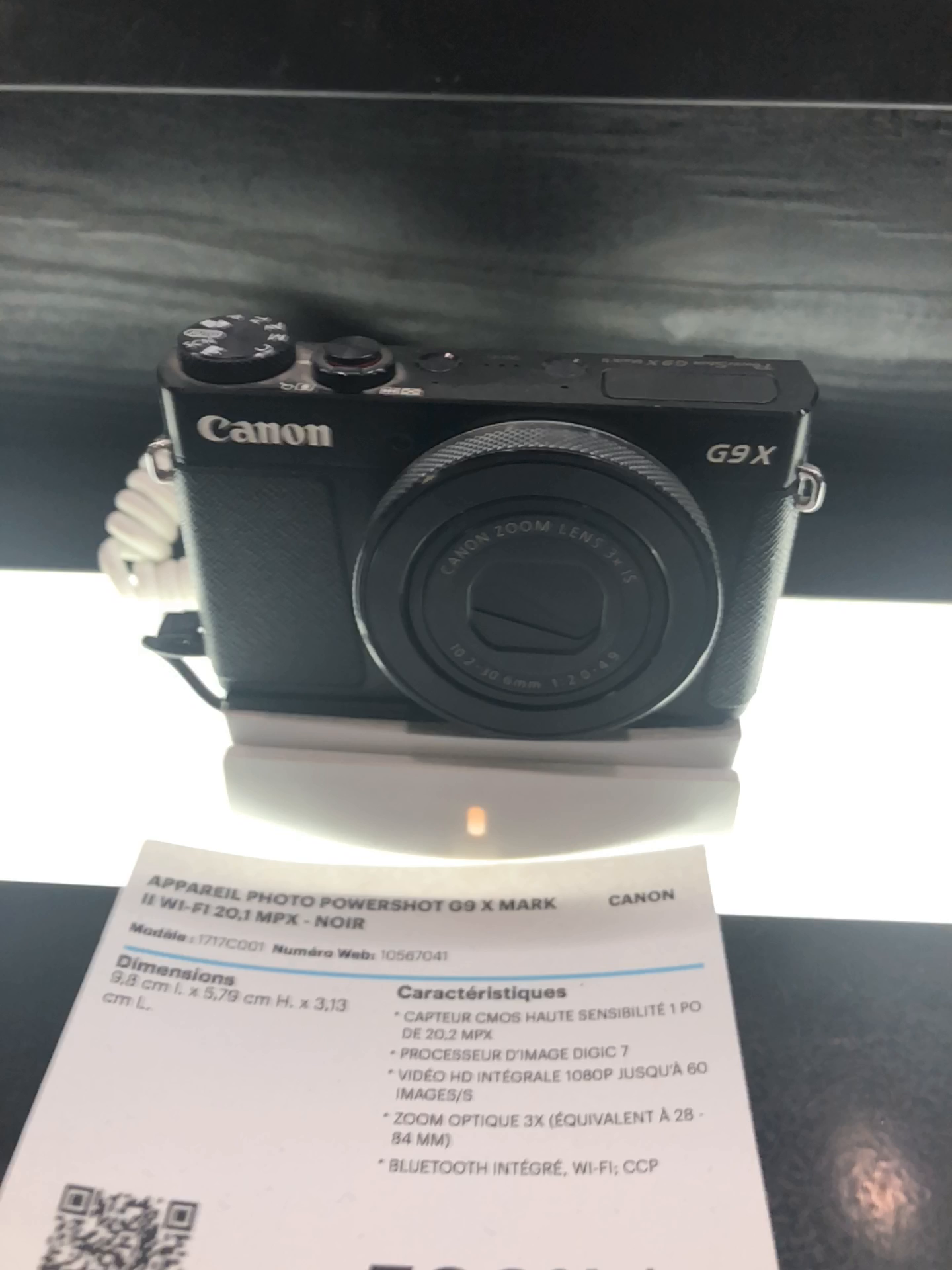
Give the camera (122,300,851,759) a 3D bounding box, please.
[{"bbox_3d":[0.001,-0.015,0.162,0.092,0.060,0.026,3,35,3],"label":"camera"}]
